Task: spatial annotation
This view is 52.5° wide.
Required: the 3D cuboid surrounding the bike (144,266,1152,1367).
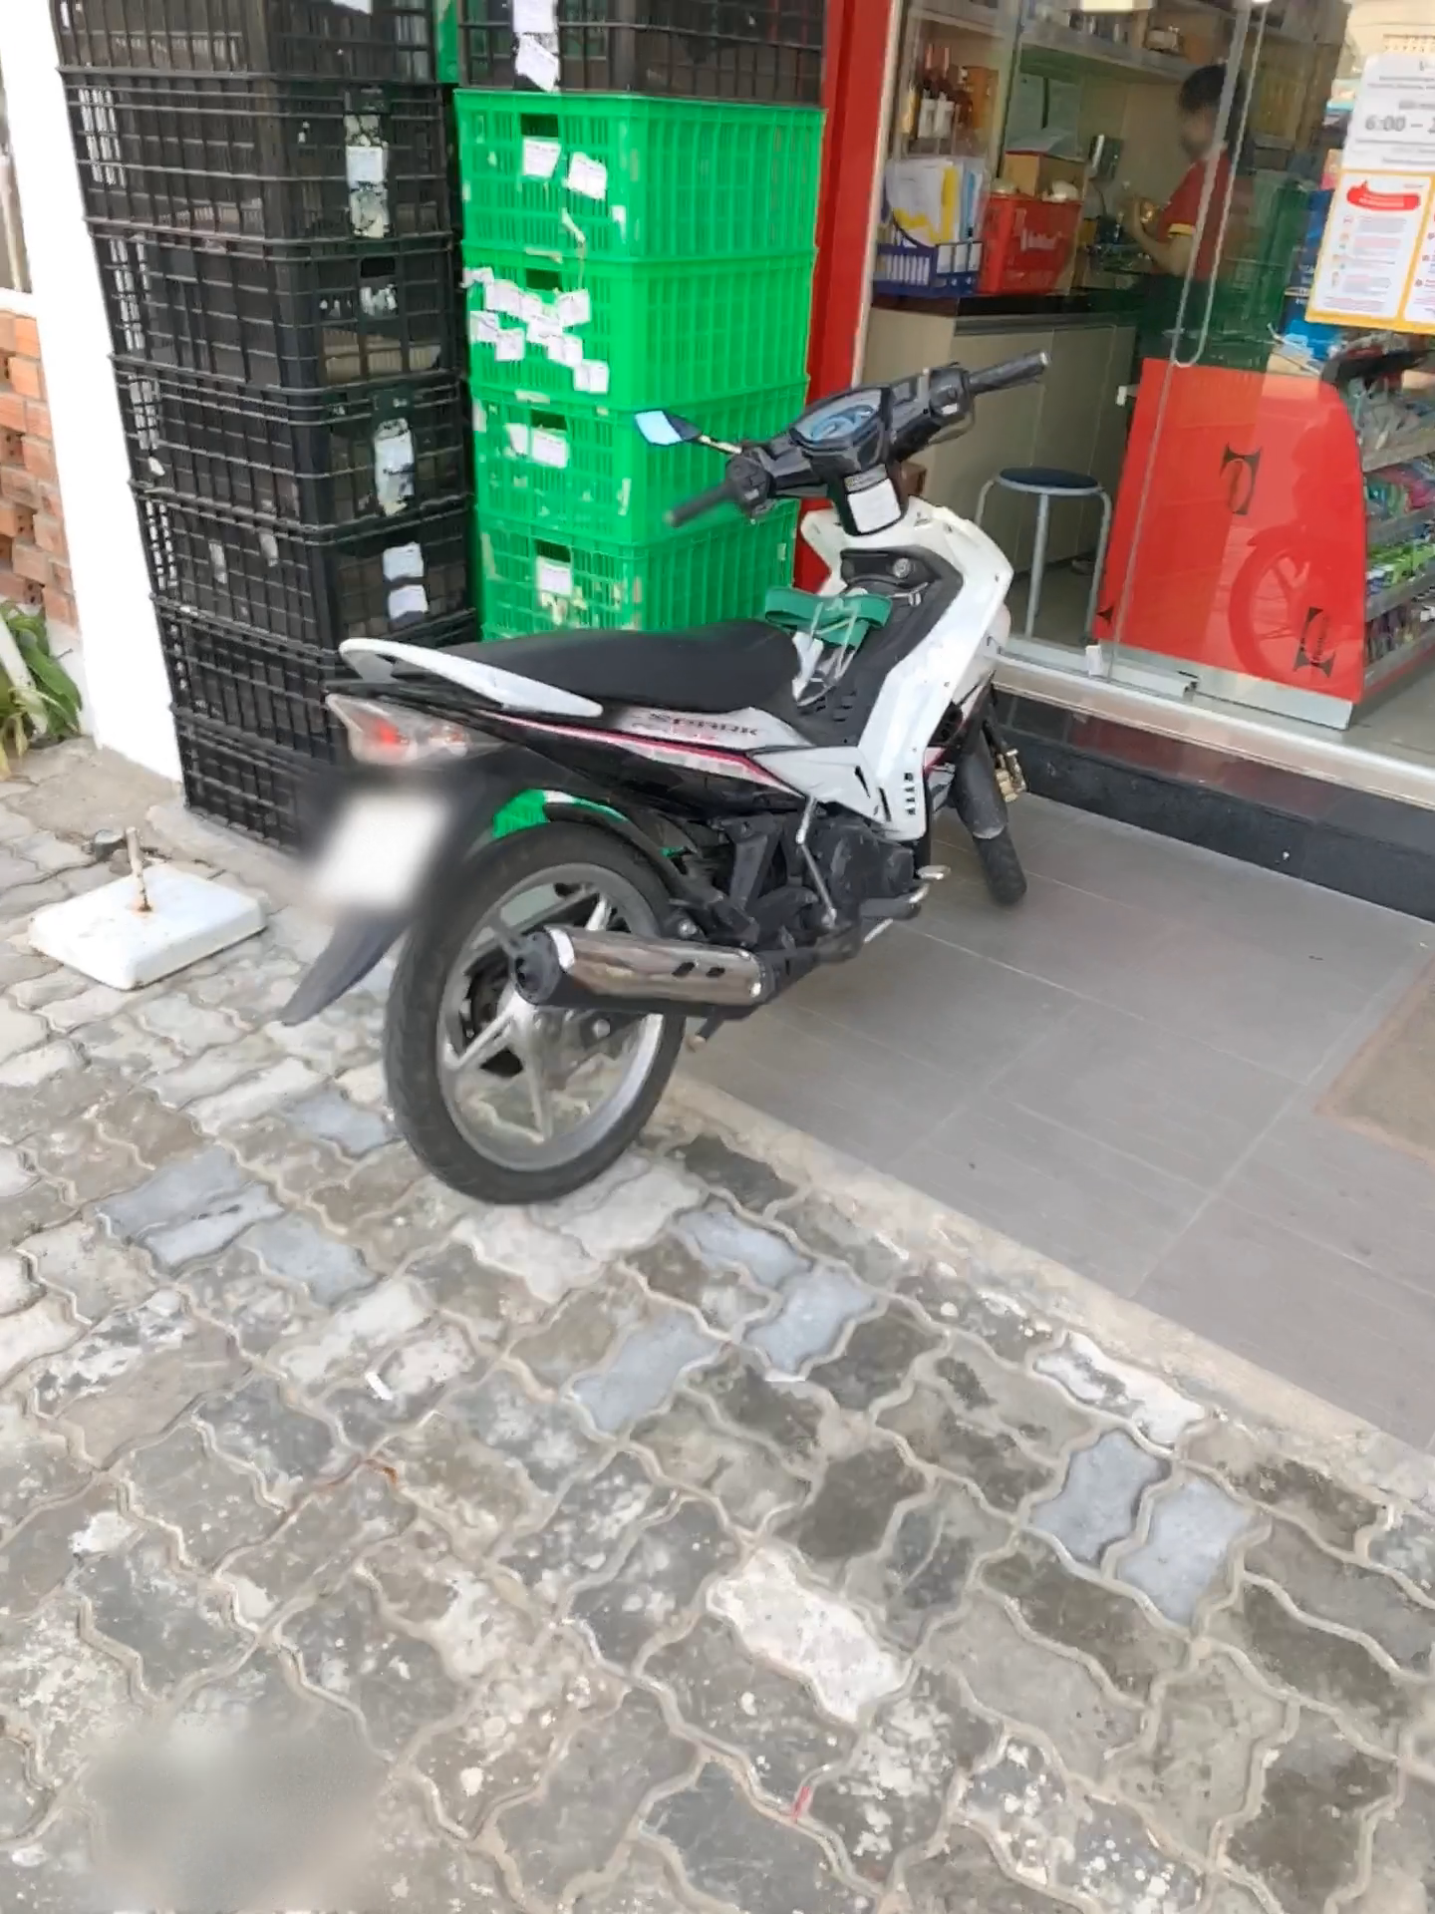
[{"bbox_3d":[0.031,-0.456,2.526,0.668,1.186,1.821,20,34,27],"label":"bike"}]
